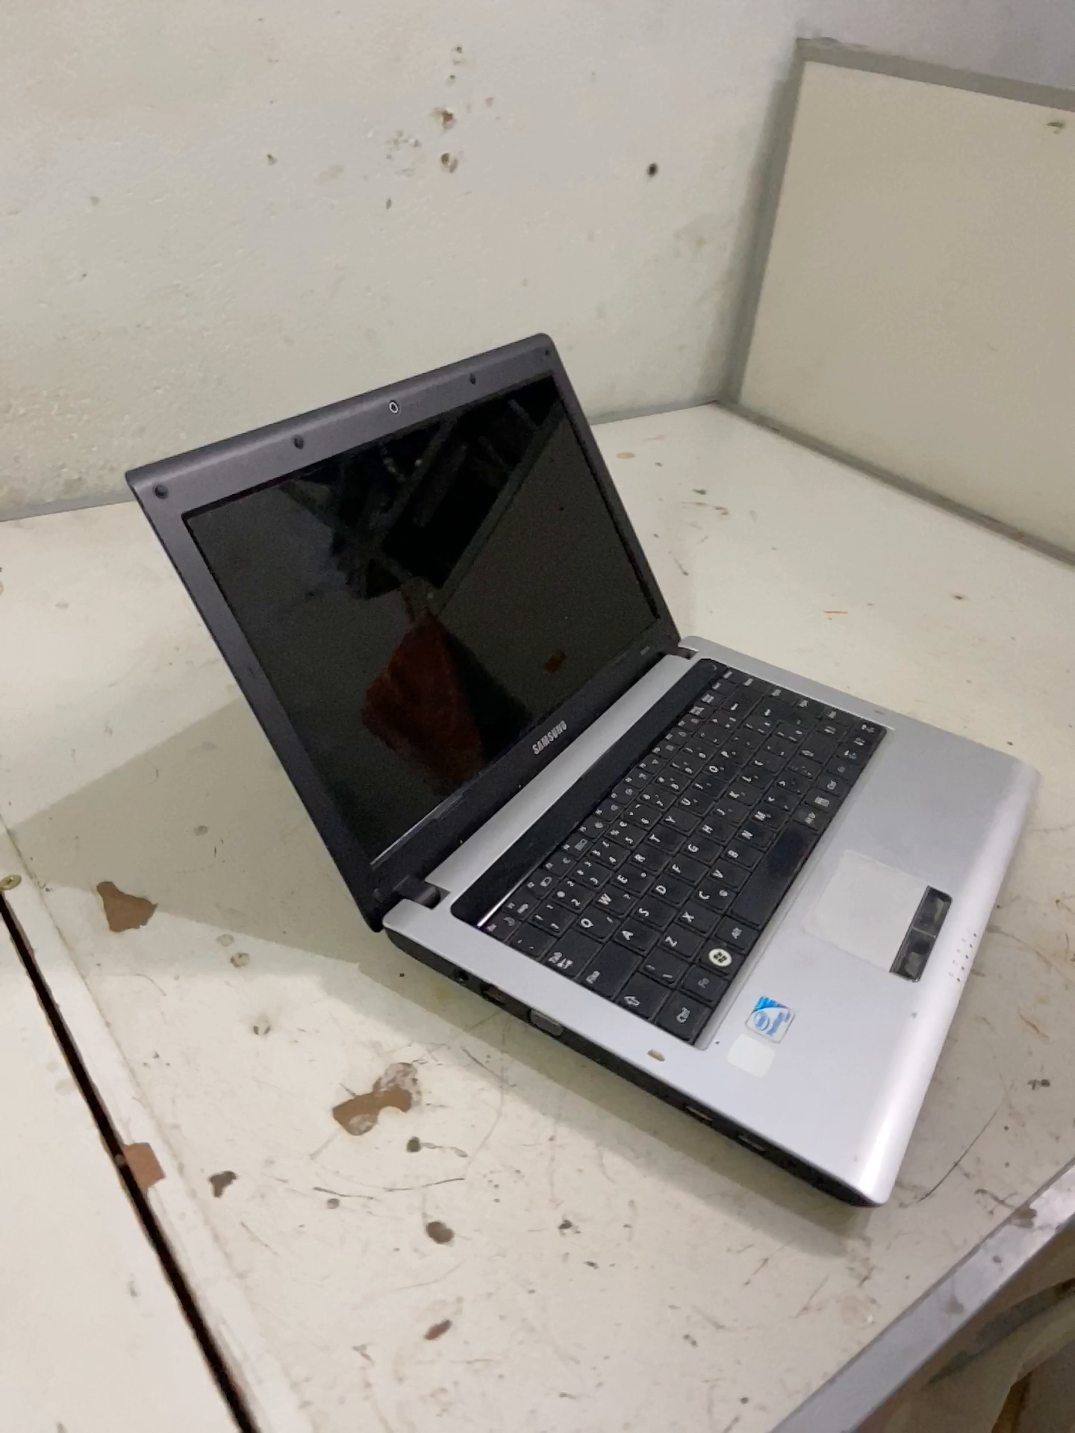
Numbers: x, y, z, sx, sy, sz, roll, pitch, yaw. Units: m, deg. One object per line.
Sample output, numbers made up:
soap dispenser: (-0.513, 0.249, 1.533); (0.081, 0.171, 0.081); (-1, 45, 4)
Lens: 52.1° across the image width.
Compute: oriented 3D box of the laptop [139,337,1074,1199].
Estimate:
laptop: (0.067, -0.033, 0.552); (0.362, 0.172, 0.336); (23, 36, 23)
